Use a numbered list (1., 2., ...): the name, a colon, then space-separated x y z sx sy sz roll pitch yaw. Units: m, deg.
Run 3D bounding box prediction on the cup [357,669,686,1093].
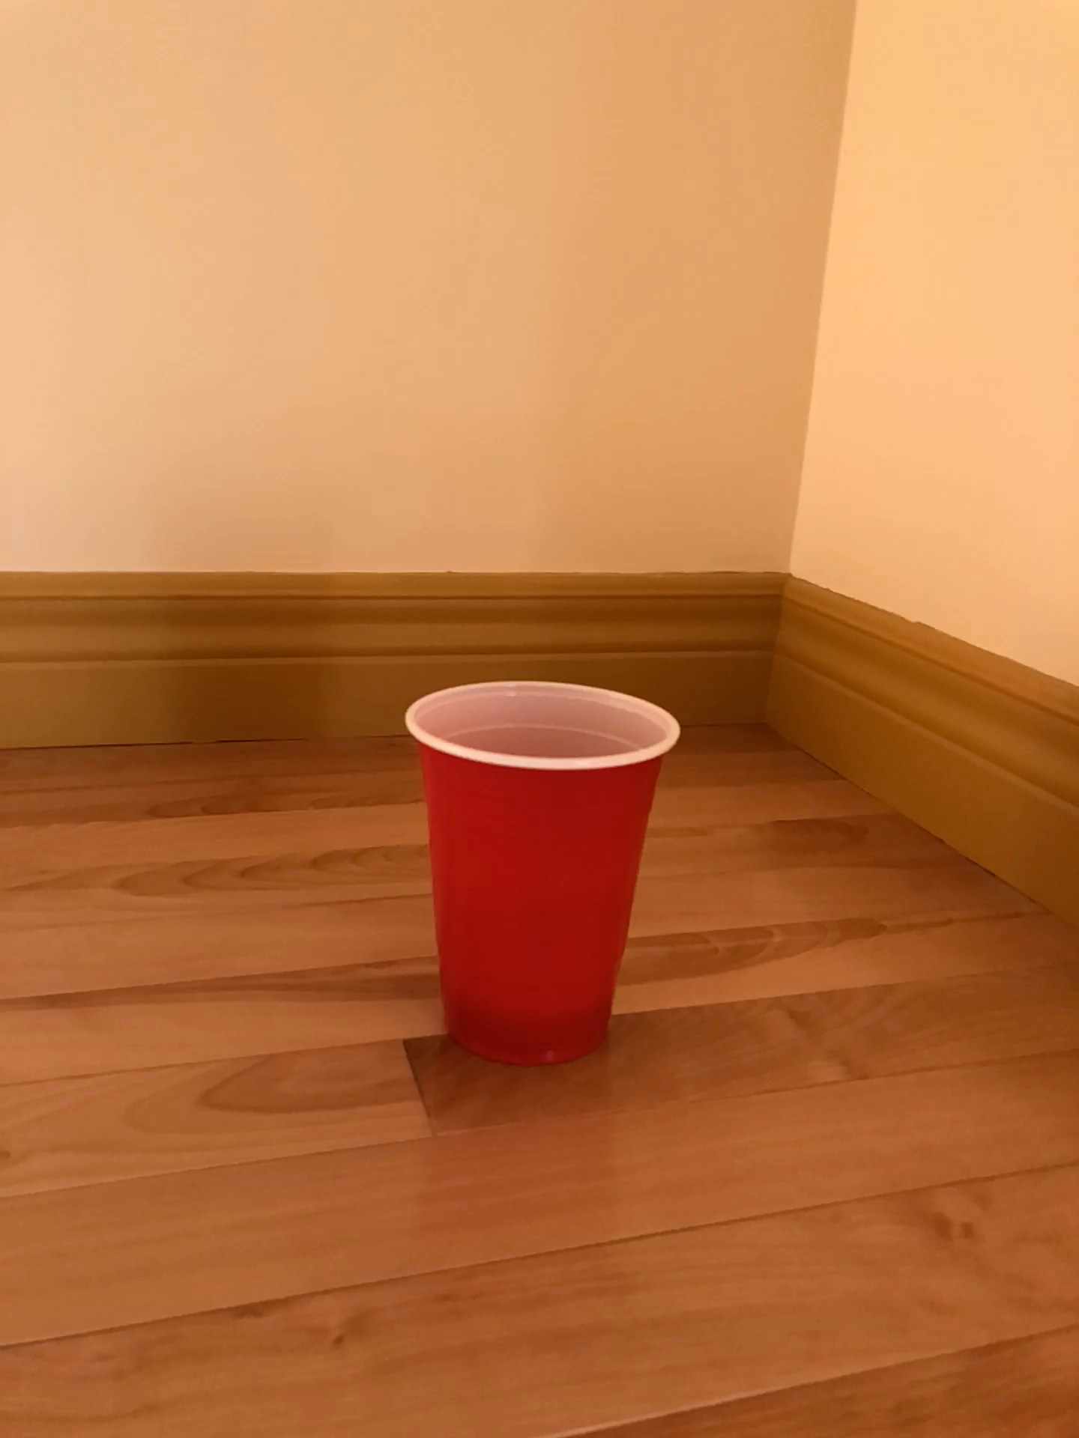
1. cup: -0.002 0.051 0.421 0.100 0.110 0.100 2 16 -1
